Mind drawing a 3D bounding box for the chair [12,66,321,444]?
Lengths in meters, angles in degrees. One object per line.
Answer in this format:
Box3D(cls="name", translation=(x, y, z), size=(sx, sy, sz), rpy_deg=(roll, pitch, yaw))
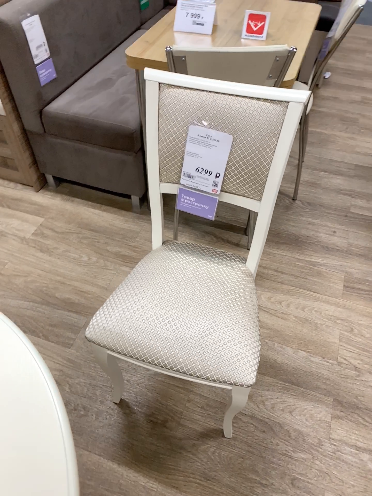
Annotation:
Box3D(cls="chair", translation=(0.009, 0.089, 1.081), size=(0.460, 0.926, 0.512), rpy_deg=(12, 49, 10))
